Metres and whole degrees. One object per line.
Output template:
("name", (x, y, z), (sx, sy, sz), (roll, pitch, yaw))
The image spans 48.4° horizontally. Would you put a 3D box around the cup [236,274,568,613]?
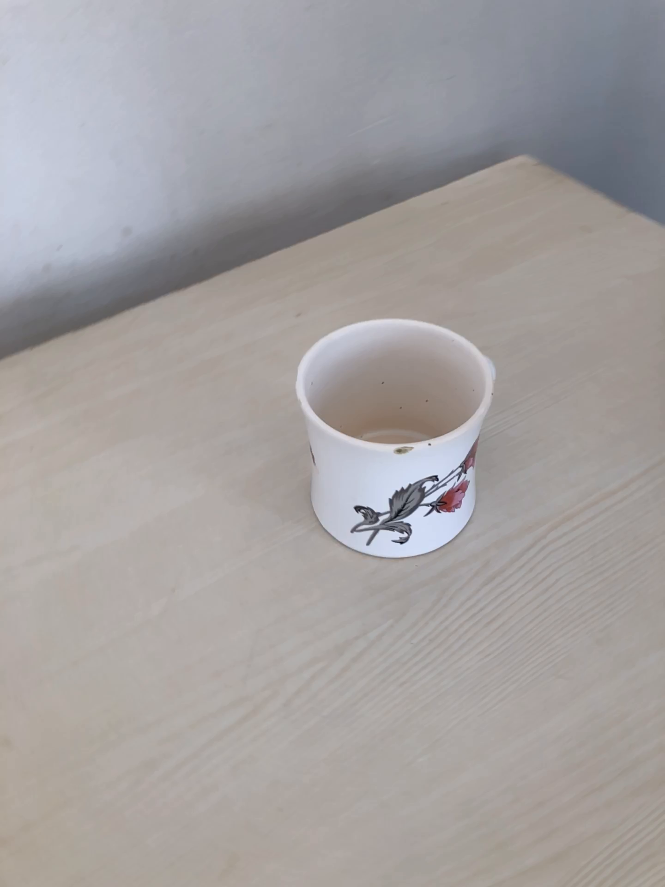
("cup", (0.026, -0.004, 0.294), (0.090, 0.070, 0.080), (-30, 51, -22))
